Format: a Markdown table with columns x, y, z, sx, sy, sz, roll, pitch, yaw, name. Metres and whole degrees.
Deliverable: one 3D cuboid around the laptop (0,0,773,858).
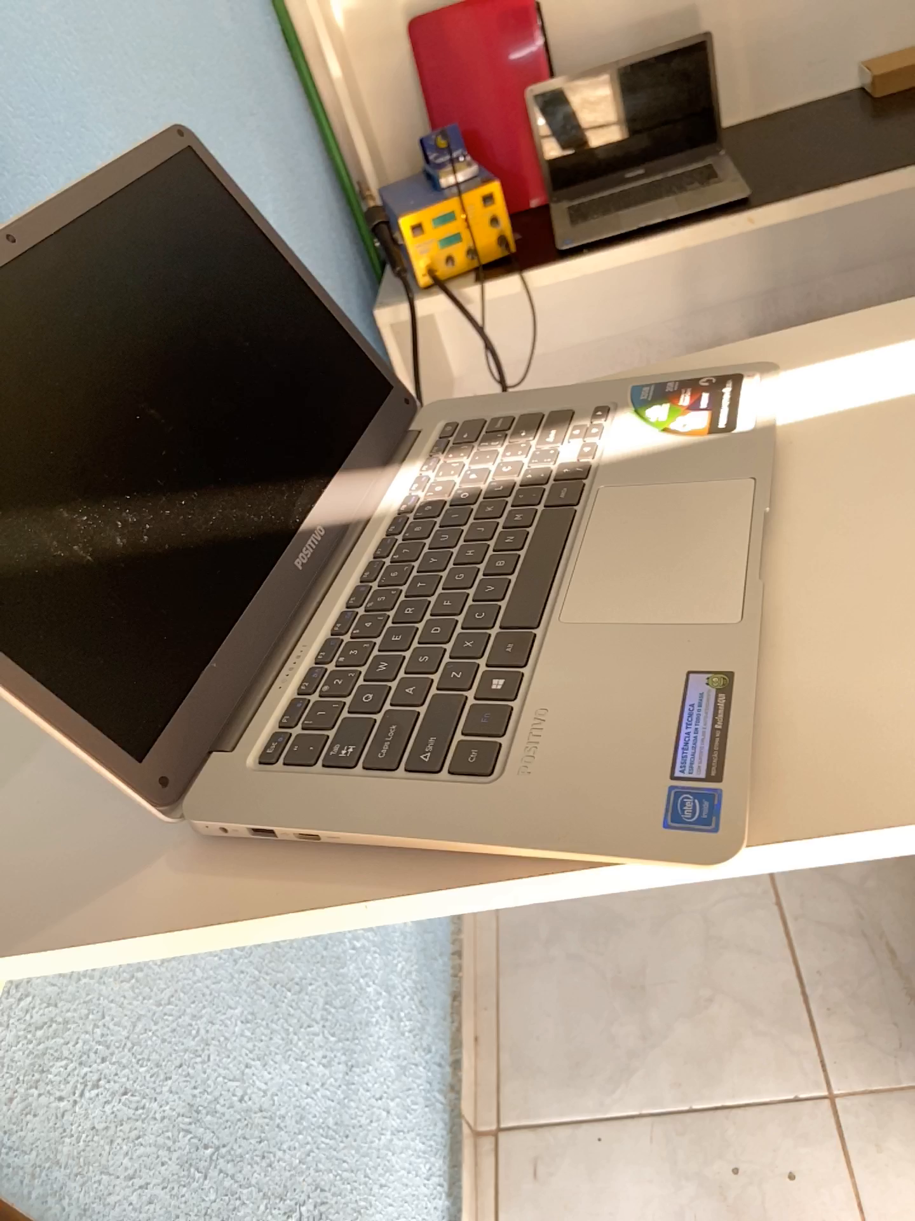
| x | y | z | sx | sy | sz | roll | pitch | yaw | name |
| --- | --- | --- | --- | --- | --- | --- | --- | --- | --- |
| -0.040 | -0.098 | 0.415 | 0.311 | 0.189 | 0.334 | -2 | 39 | 22 | laptop |
